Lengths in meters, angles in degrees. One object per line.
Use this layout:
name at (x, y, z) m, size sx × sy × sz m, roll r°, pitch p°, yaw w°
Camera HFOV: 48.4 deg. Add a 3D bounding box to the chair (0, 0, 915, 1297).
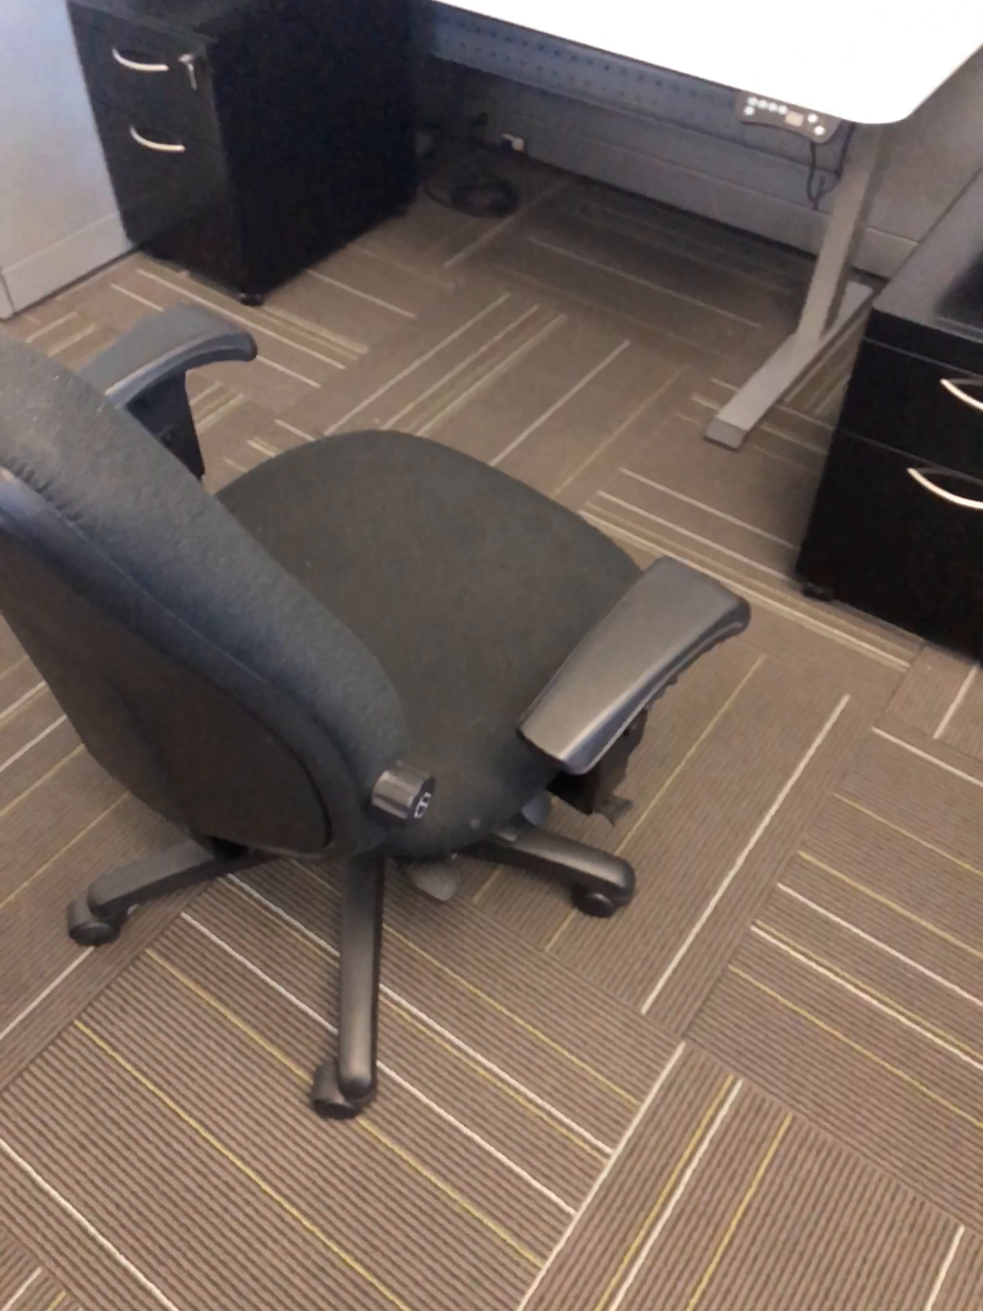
chair at (-0.188, -0.001, 1.133) m, size 0.741 × 0.956 × 0.681 m, roll 29°, pitch 55°, yaw 23°
